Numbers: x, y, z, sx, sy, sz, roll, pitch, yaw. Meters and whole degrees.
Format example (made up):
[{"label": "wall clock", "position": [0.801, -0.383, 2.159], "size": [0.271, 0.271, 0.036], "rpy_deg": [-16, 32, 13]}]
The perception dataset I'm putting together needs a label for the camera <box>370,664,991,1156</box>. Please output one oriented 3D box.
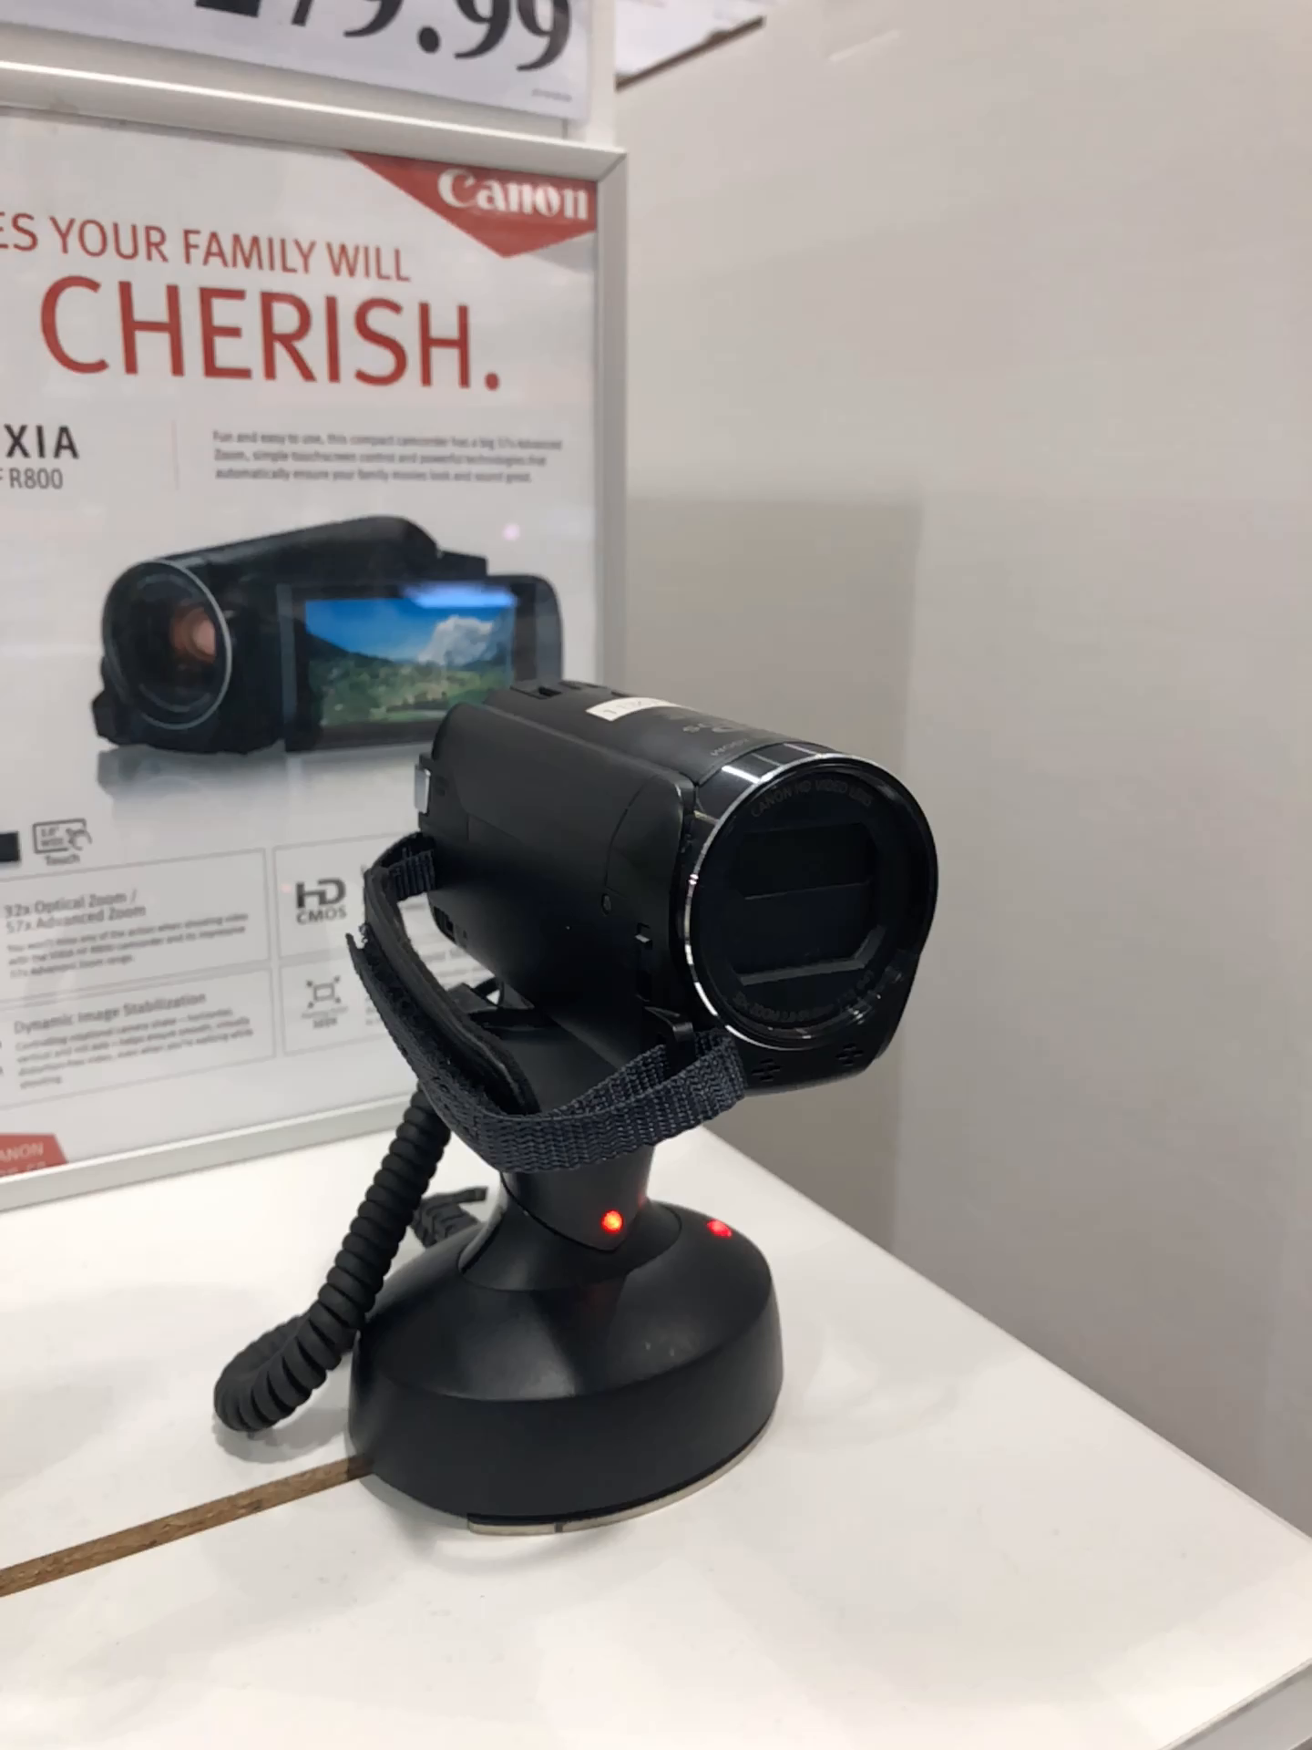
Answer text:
[{"label": "camera", "position": [-0.004, -0.004, 0.284], "size": [0.060, 0.060, 0.130], "rpy_deg": [-7, 15, -29]}]
